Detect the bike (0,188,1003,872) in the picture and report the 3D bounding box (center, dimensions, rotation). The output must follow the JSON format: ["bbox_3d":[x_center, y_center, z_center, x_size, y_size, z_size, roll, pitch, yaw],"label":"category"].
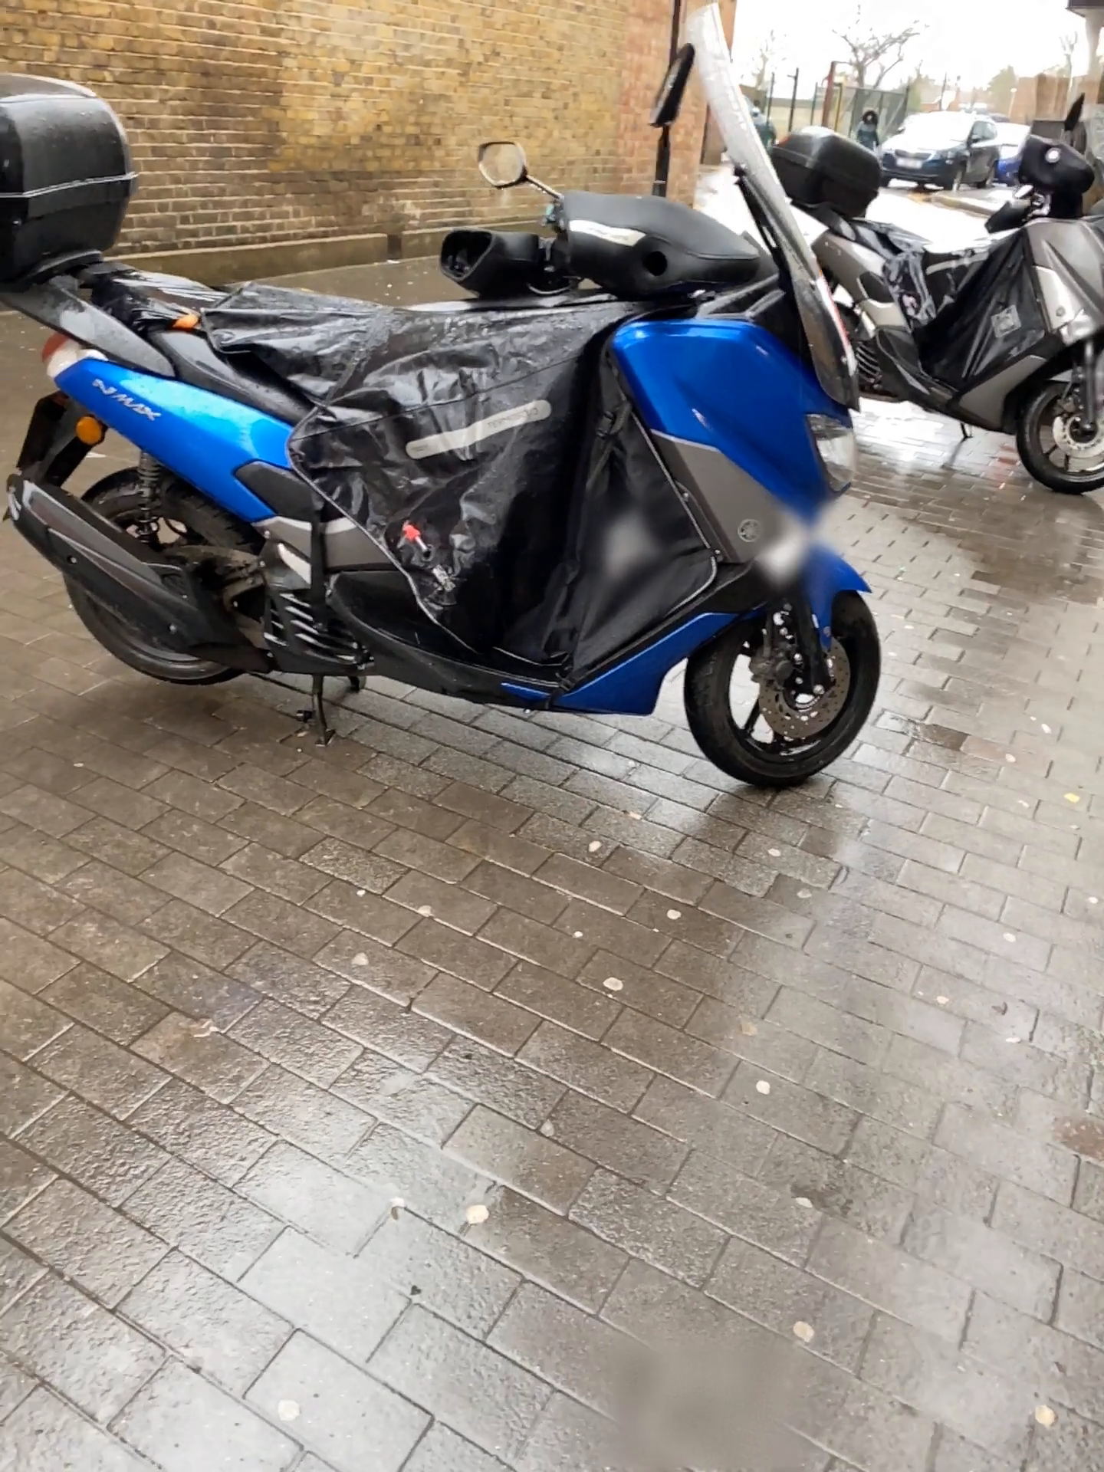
[{"bbox_3d":[-0.178,-0.433,2.193,1.730,0.998,0.682,6,29,3],"label":"bike"}]
